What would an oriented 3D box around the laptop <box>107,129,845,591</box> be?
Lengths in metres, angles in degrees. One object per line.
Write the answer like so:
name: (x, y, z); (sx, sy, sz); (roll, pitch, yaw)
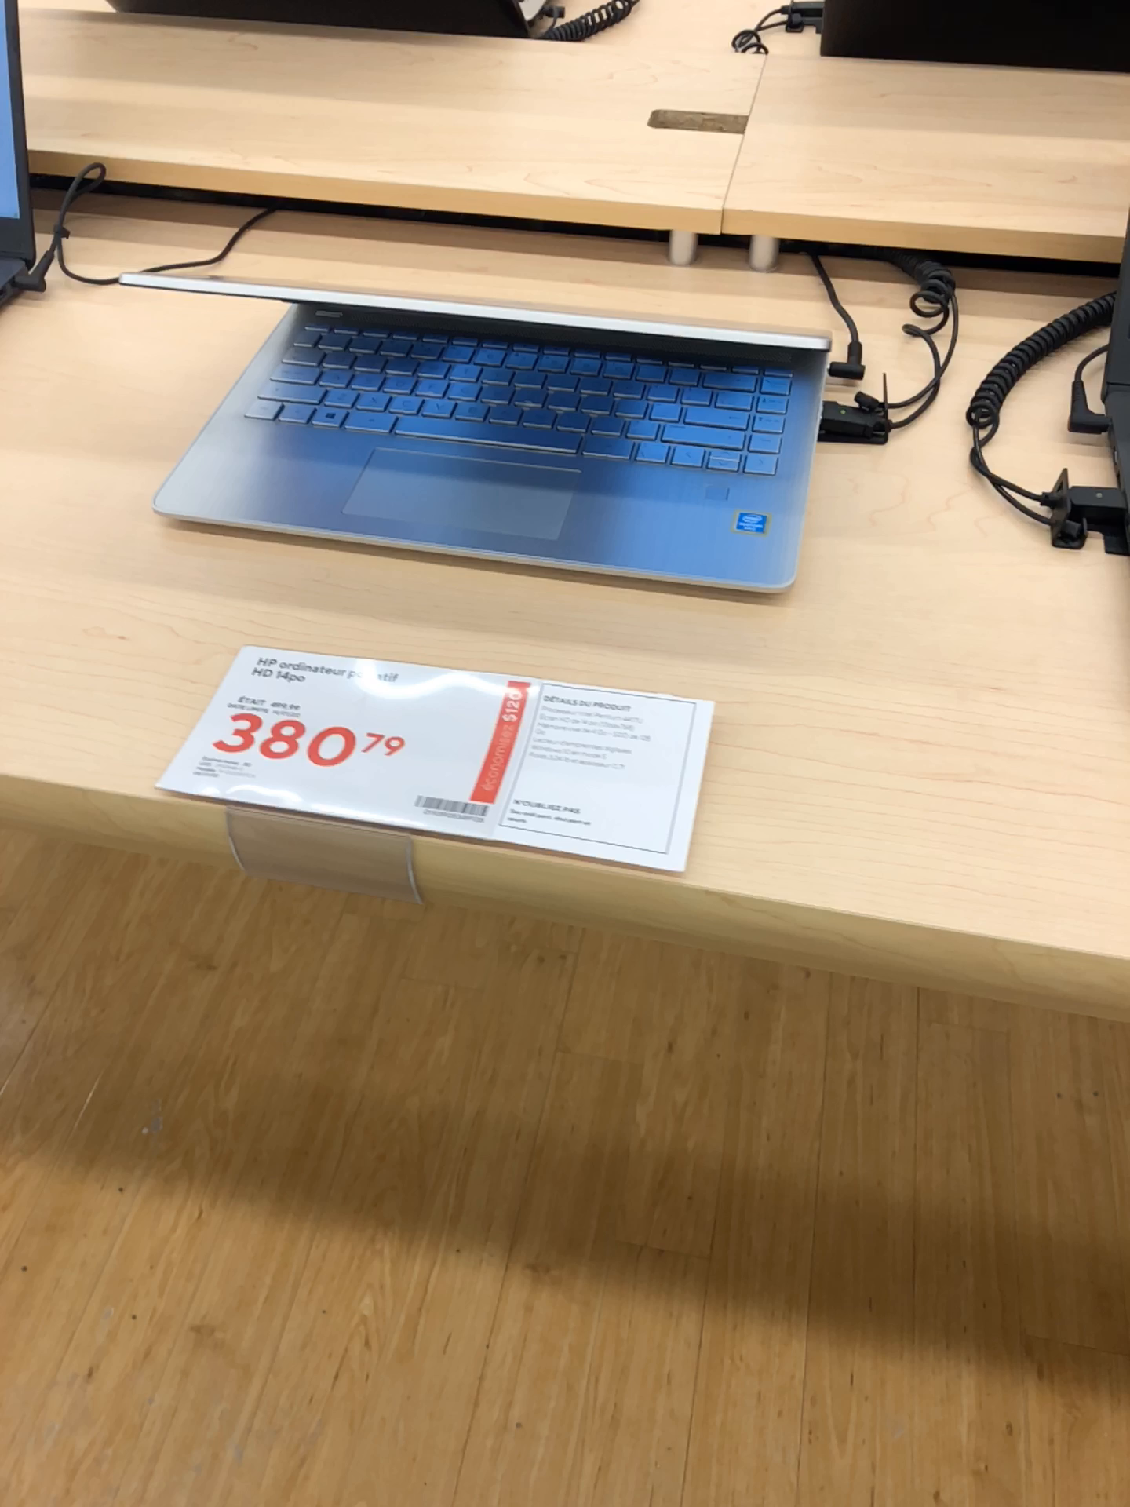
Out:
laptop: (-0.032, -0.210, 0.614); (0.318, 0.104, 0.217); (9, 47, 15)
